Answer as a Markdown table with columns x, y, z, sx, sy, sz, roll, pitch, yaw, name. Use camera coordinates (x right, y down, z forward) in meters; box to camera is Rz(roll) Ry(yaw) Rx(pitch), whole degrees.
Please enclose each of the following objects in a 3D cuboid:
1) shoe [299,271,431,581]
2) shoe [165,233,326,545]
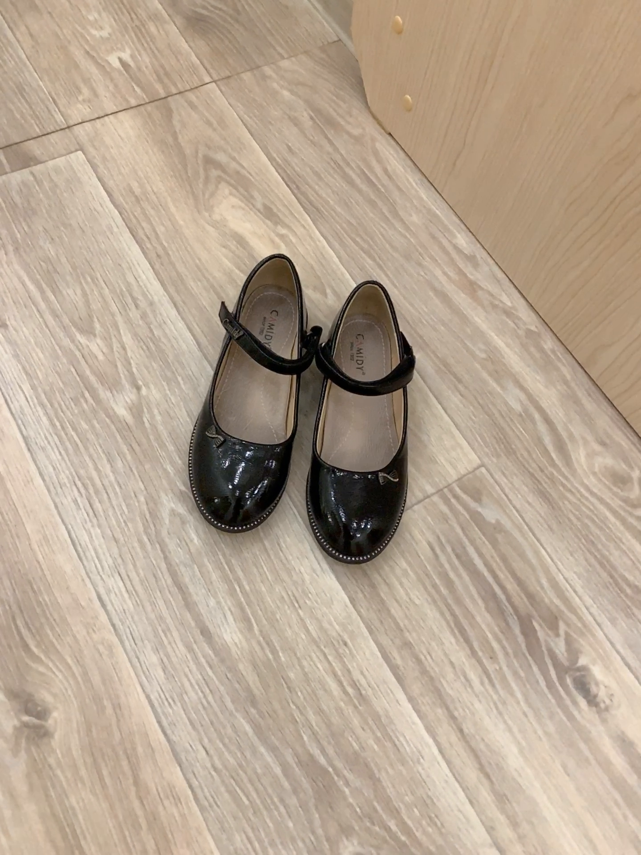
| x | y | z | sx | sy | sz | roll | pitch | yaw | name |
| --- | --- | --- | --- | --- | --- | --- | --- | --- | --- |
| 0.041 | -0.002 | 0.591 | 0.090 | 0.100 | 0.251 | 7 | 66 | -4 | shoe |
| -0.061 | -0.035 | 0.591 | 0.090 | 0.100 | 0.251 | 9 | 66 | -3 | shoe |
